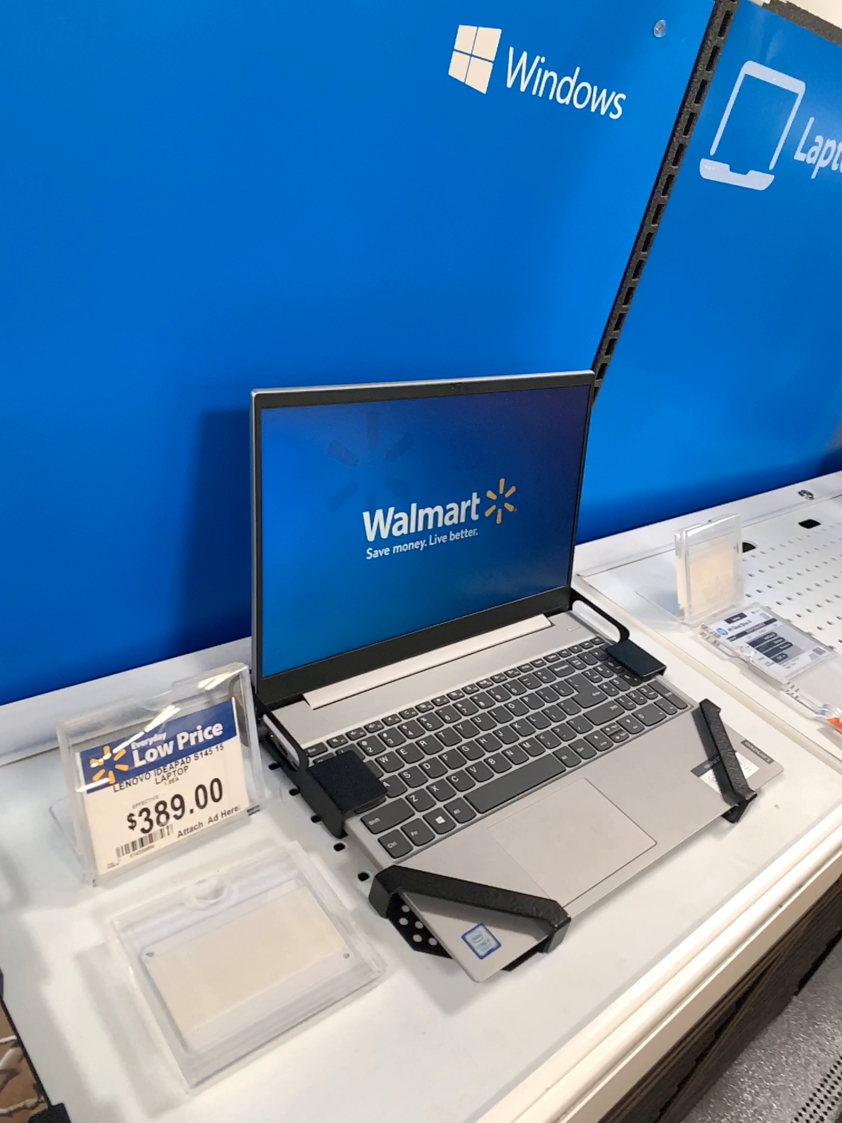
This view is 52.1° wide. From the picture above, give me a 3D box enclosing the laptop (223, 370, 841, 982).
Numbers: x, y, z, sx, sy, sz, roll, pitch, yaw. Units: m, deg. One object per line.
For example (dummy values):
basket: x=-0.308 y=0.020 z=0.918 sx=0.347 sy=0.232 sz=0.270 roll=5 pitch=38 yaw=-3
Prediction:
laptop: x=0.096 y=0.031 z=0.627 sx=0.351 sy=0.217 sz=0.298 roll=-14 pitch=41 yaw=-40
